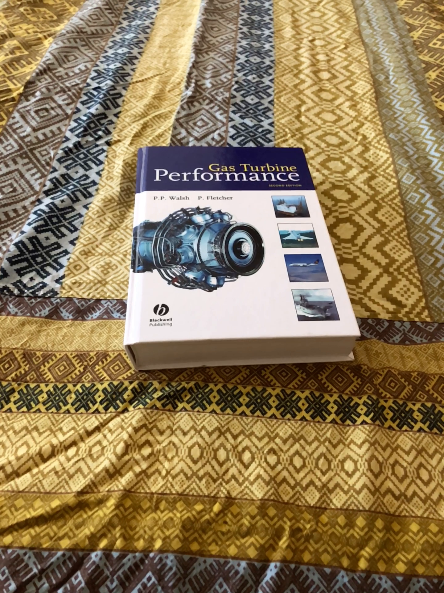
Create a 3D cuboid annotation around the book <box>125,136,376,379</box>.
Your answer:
[{"bbox_3d":[0.011,-0.056,0.484,0.192,0.060,0.273,-1,49,-6],"label":"book"}]
